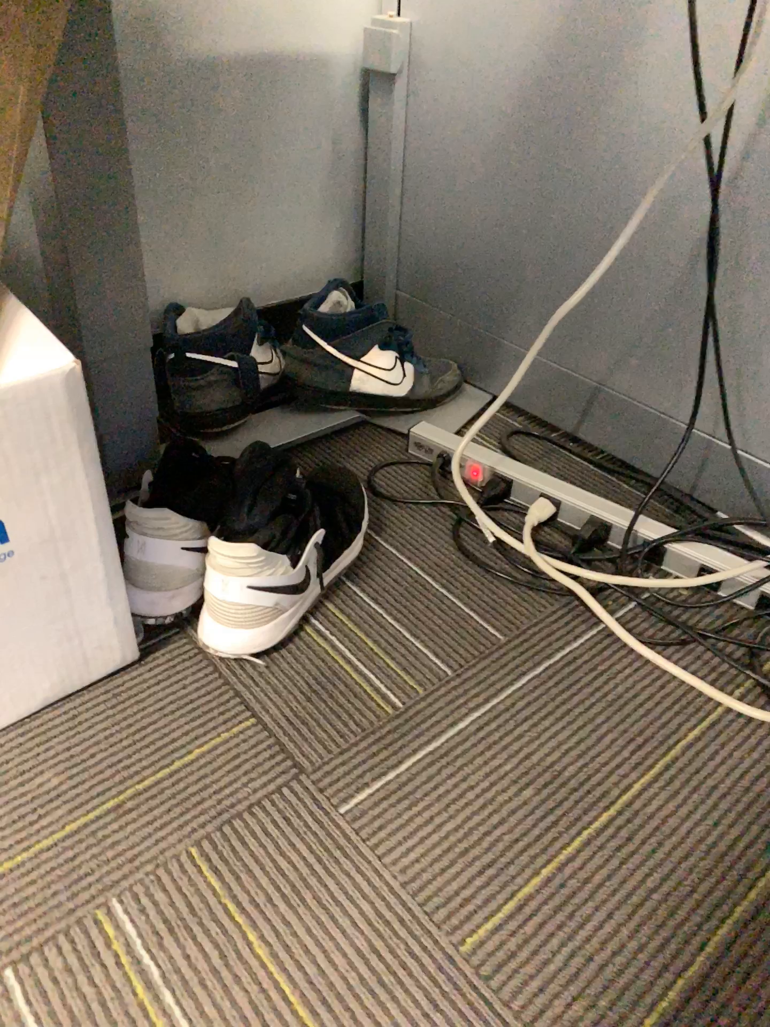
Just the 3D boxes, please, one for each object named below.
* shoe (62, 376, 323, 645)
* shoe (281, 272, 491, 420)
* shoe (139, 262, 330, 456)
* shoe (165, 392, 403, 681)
[{"bbox_3d":[-0.187,-0.018,0.848,0.100,0.129,0.301,19,39,19],"label":"shoe"},{"bbox_3d":[-0.006,-0.245,1.162,0.260,0.159,0.131,0,36,-18],"label":"shoe"},{"bbox_3d":[-0.202,-0.237,1.139,0.130,0.169,0.332,13,30,12],"label":"shoe"},{"bbox_3d":[-0.087,0.008,0.795,0.100,0.129,0.291,17,38,16],"label":"shoe"}]
